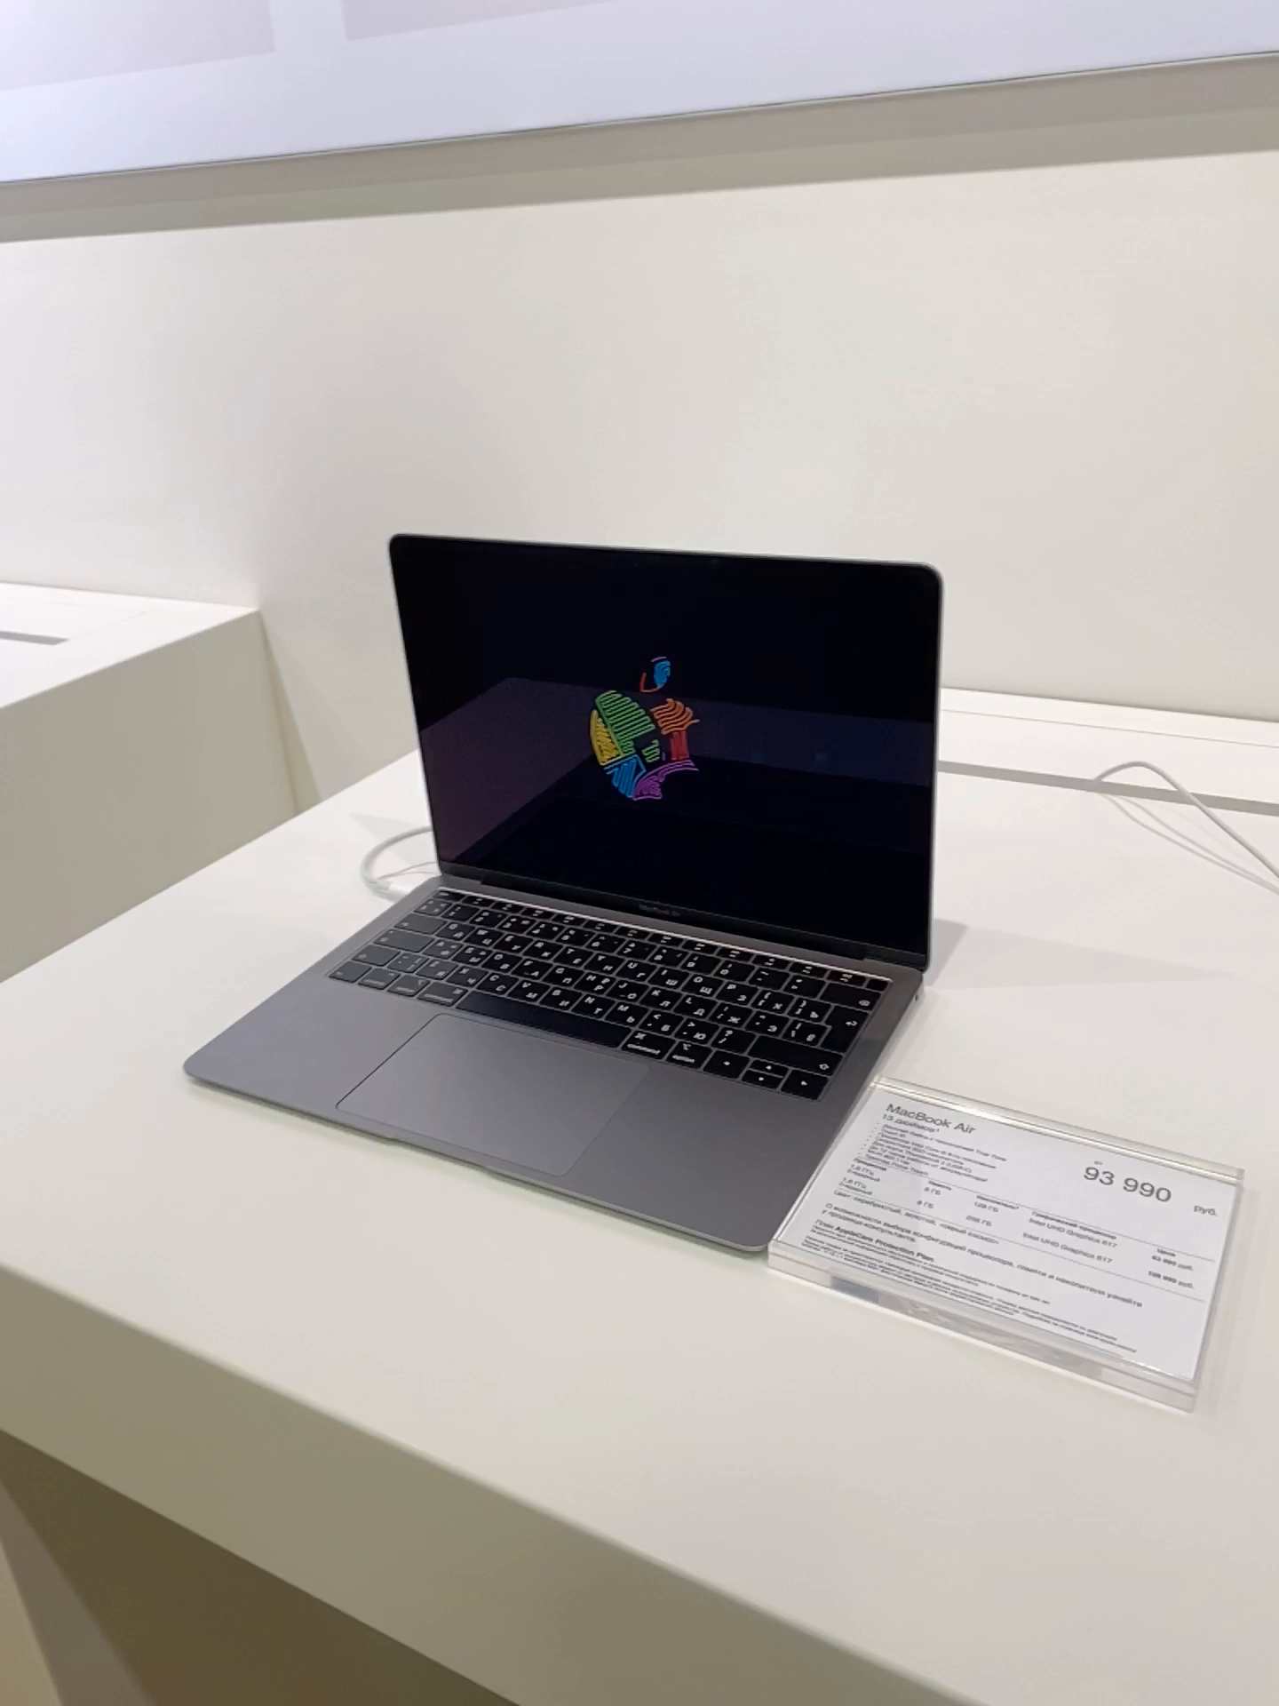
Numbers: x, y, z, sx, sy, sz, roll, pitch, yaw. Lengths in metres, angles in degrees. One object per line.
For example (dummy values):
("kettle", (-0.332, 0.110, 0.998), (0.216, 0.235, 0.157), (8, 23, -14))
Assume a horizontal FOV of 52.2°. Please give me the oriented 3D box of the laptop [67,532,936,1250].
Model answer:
("laptop", (-0.047, -0.014, 0.605), (0.302, 0.211, 0.225), (10, 27, 27))
